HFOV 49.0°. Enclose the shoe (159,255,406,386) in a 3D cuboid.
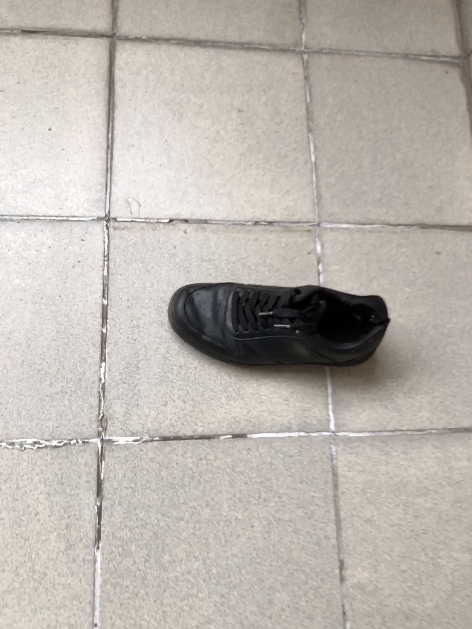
[{"bbox_3d":[0.056,0.014,0.669,0.290,0.100,0.110,9,78,-4],"label":"shoe"}]
